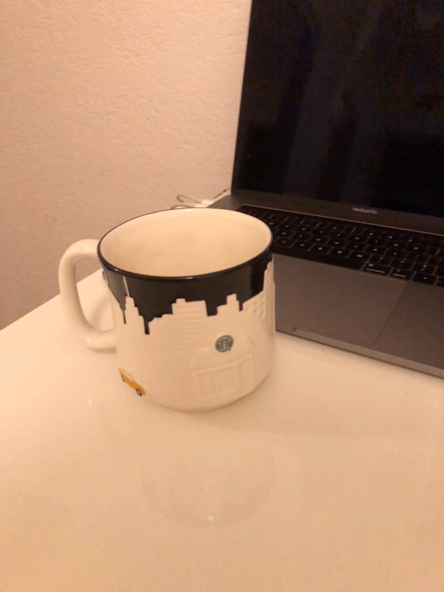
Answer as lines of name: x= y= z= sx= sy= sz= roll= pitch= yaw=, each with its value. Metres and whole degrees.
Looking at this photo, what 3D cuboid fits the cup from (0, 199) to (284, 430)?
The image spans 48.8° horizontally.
cup: x=-0.039 y=0.004 z=0.319 sx=0.150 sy=0.099 sz=0.111 roll=2 pitch=31 yaw=11
